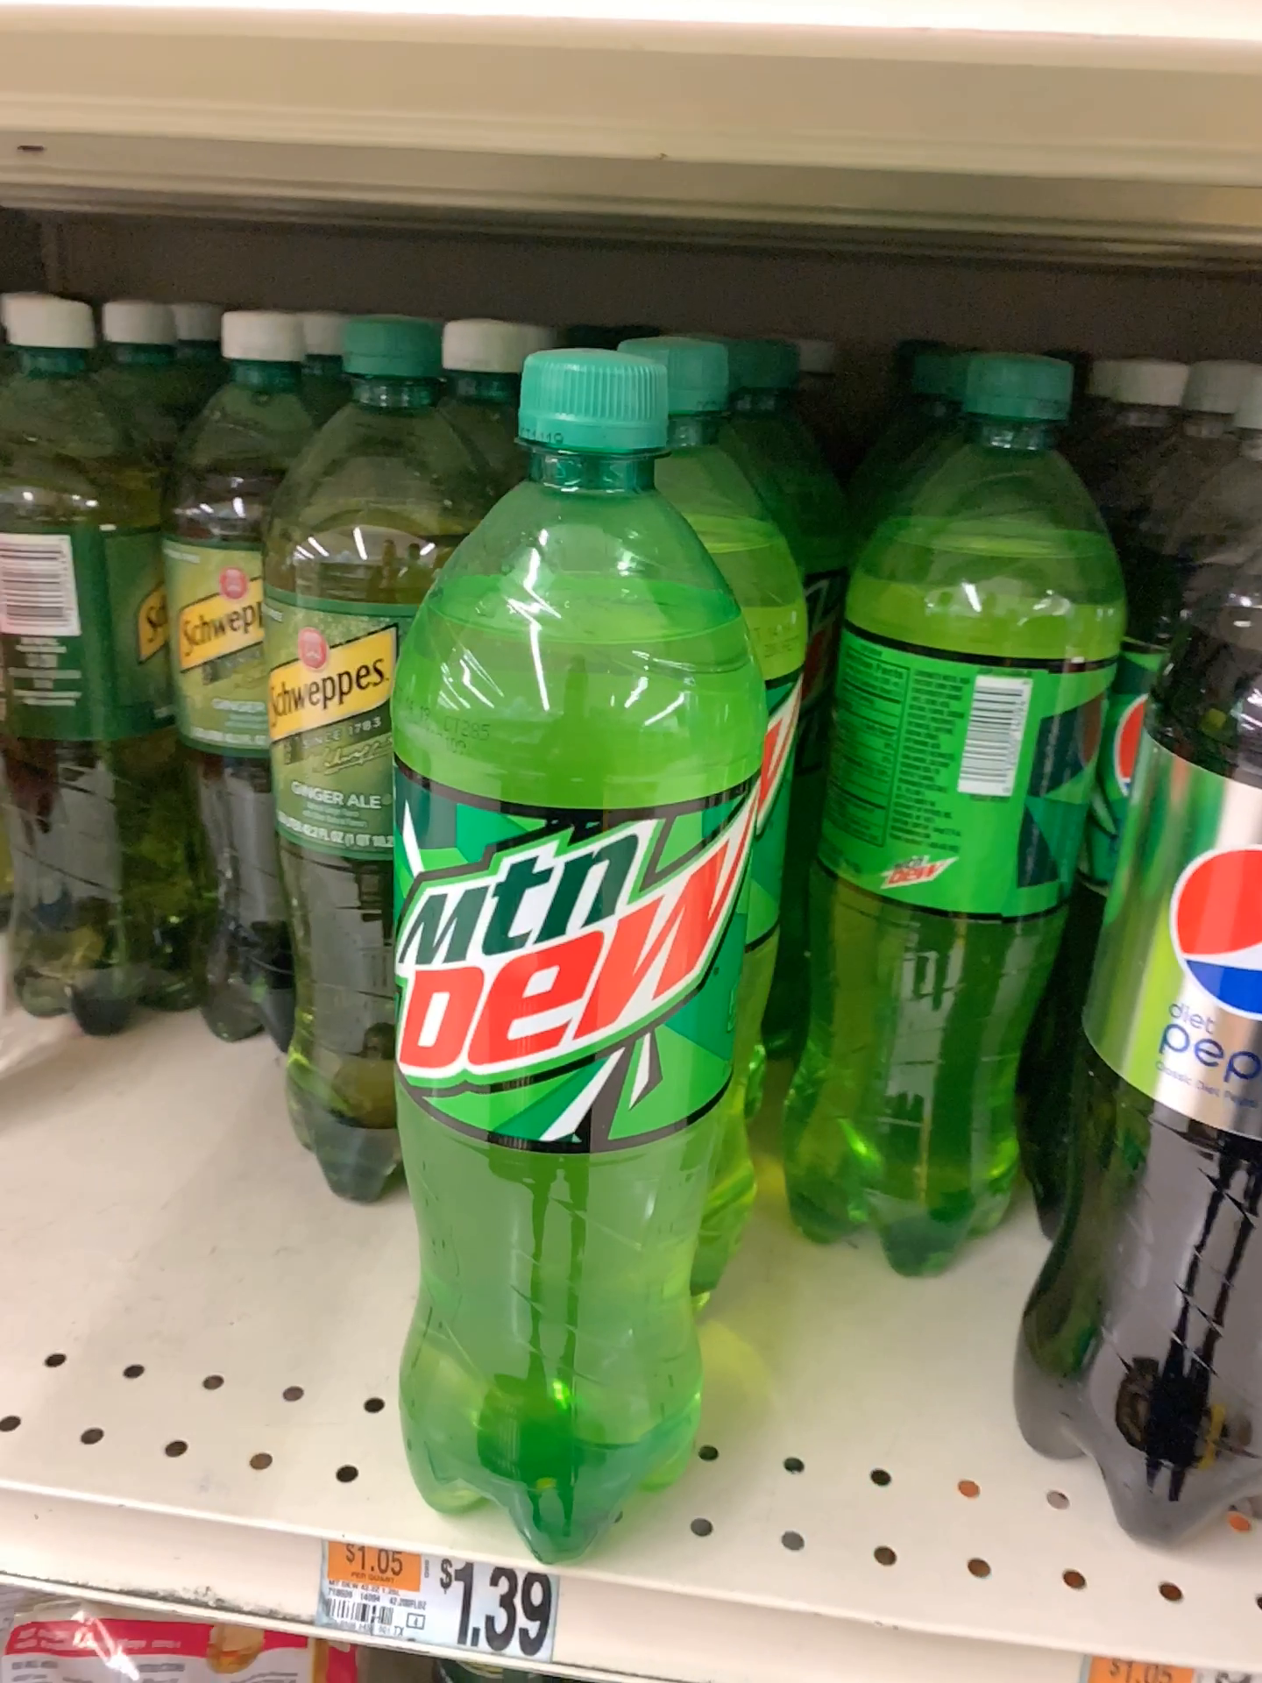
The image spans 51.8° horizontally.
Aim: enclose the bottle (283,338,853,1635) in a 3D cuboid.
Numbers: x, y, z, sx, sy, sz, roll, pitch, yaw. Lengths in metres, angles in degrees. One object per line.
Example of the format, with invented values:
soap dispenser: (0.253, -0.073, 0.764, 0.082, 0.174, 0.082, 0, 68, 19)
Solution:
bottle: (-0.013, 0.039, 0.324, 0.100, 0.302, 0.090, 7, 22, 9)
